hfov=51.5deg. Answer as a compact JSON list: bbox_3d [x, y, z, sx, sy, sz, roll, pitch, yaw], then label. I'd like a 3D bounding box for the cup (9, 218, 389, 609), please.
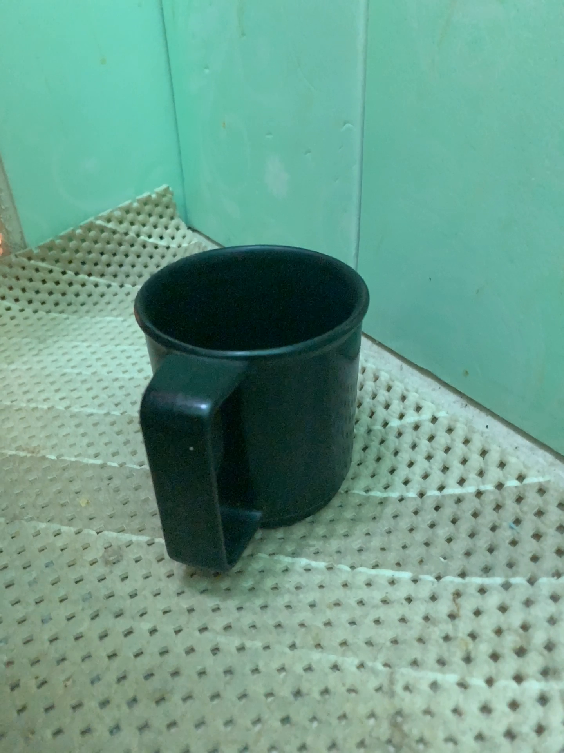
[{"bbox_3d":[-0.016,0.003,0.219,0.090,0.082,0.112,8,36,15],"label":"cup"}]
